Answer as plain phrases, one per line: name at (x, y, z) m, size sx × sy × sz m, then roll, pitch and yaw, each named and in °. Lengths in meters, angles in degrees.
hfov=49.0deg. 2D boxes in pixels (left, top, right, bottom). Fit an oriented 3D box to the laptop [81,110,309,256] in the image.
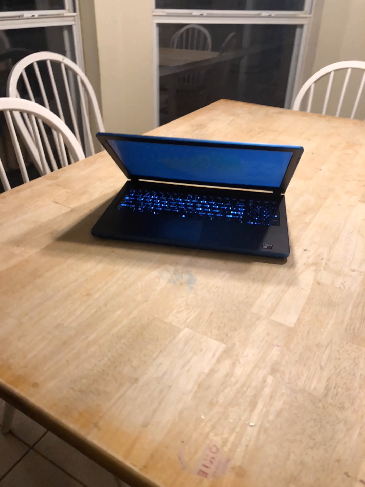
laptop at (0.028, -0.132, 0.775) m, size 0.361 × 0.159 × 0.249 m, roll 6°, pitch 33°, yaw 7°
